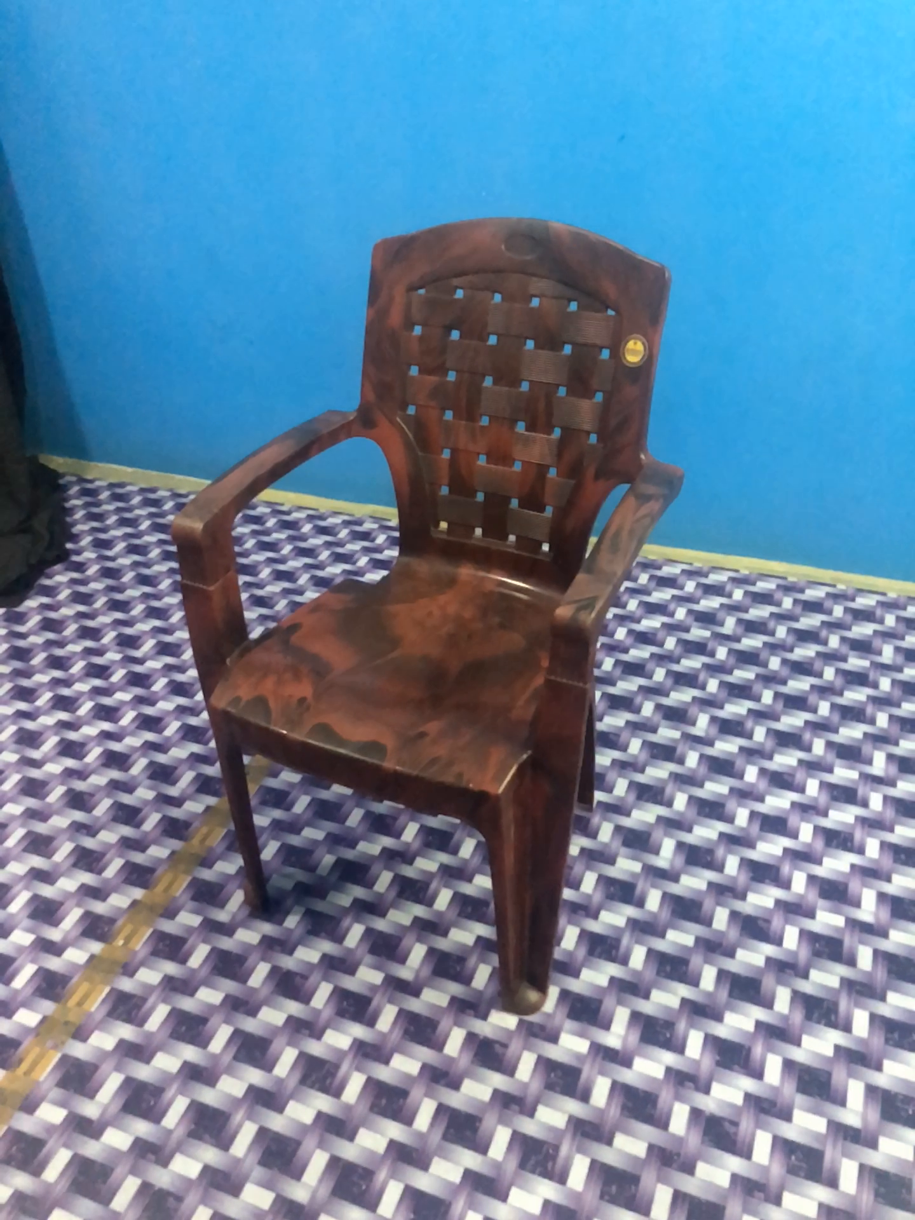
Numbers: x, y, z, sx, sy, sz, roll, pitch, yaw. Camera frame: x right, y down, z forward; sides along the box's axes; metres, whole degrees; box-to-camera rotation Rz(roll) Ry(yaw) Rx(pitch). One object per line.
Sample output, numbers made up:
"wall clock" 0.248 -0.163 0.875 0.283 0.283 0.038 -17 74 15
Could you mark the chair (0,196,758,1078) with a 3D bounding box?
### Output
"chair" -0.027 0.000 1.299 0.590 0.845 0.593 14 39 22
